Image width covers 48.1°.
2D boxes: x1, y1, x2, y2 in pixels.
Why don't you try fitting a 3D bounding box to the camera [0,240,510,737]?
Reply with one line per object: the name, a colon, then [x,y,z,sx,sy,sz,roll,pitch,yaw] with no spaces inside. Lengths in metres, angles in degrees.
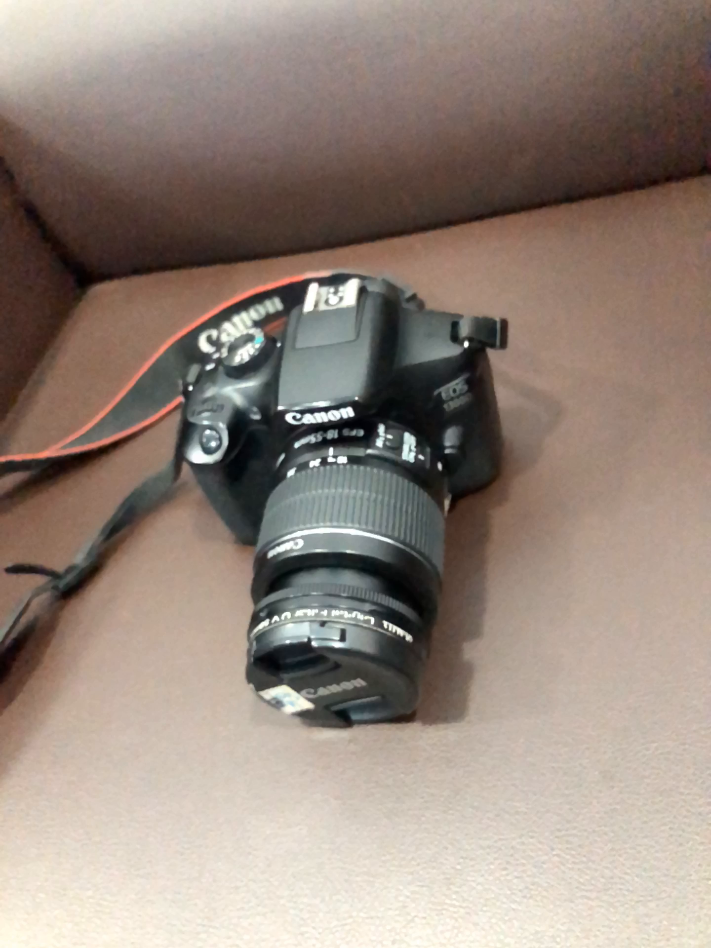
camera: [-0.019,0.006,0.283,0.130,0.089,0.141,-6,46,18]
